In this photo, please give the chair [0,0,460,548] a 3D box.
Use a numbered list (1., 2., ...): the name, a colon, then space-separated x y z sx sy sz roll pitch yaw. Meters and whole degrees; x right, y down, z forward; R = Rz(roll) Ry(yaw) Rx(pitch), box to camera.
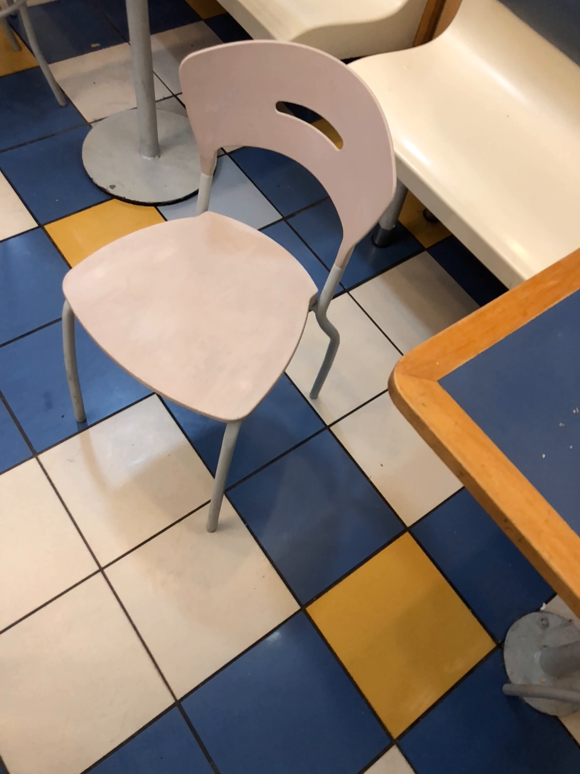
1. chair: -0.134 -0.142 1.176 0.440 0.776 0.512 37 62 12
